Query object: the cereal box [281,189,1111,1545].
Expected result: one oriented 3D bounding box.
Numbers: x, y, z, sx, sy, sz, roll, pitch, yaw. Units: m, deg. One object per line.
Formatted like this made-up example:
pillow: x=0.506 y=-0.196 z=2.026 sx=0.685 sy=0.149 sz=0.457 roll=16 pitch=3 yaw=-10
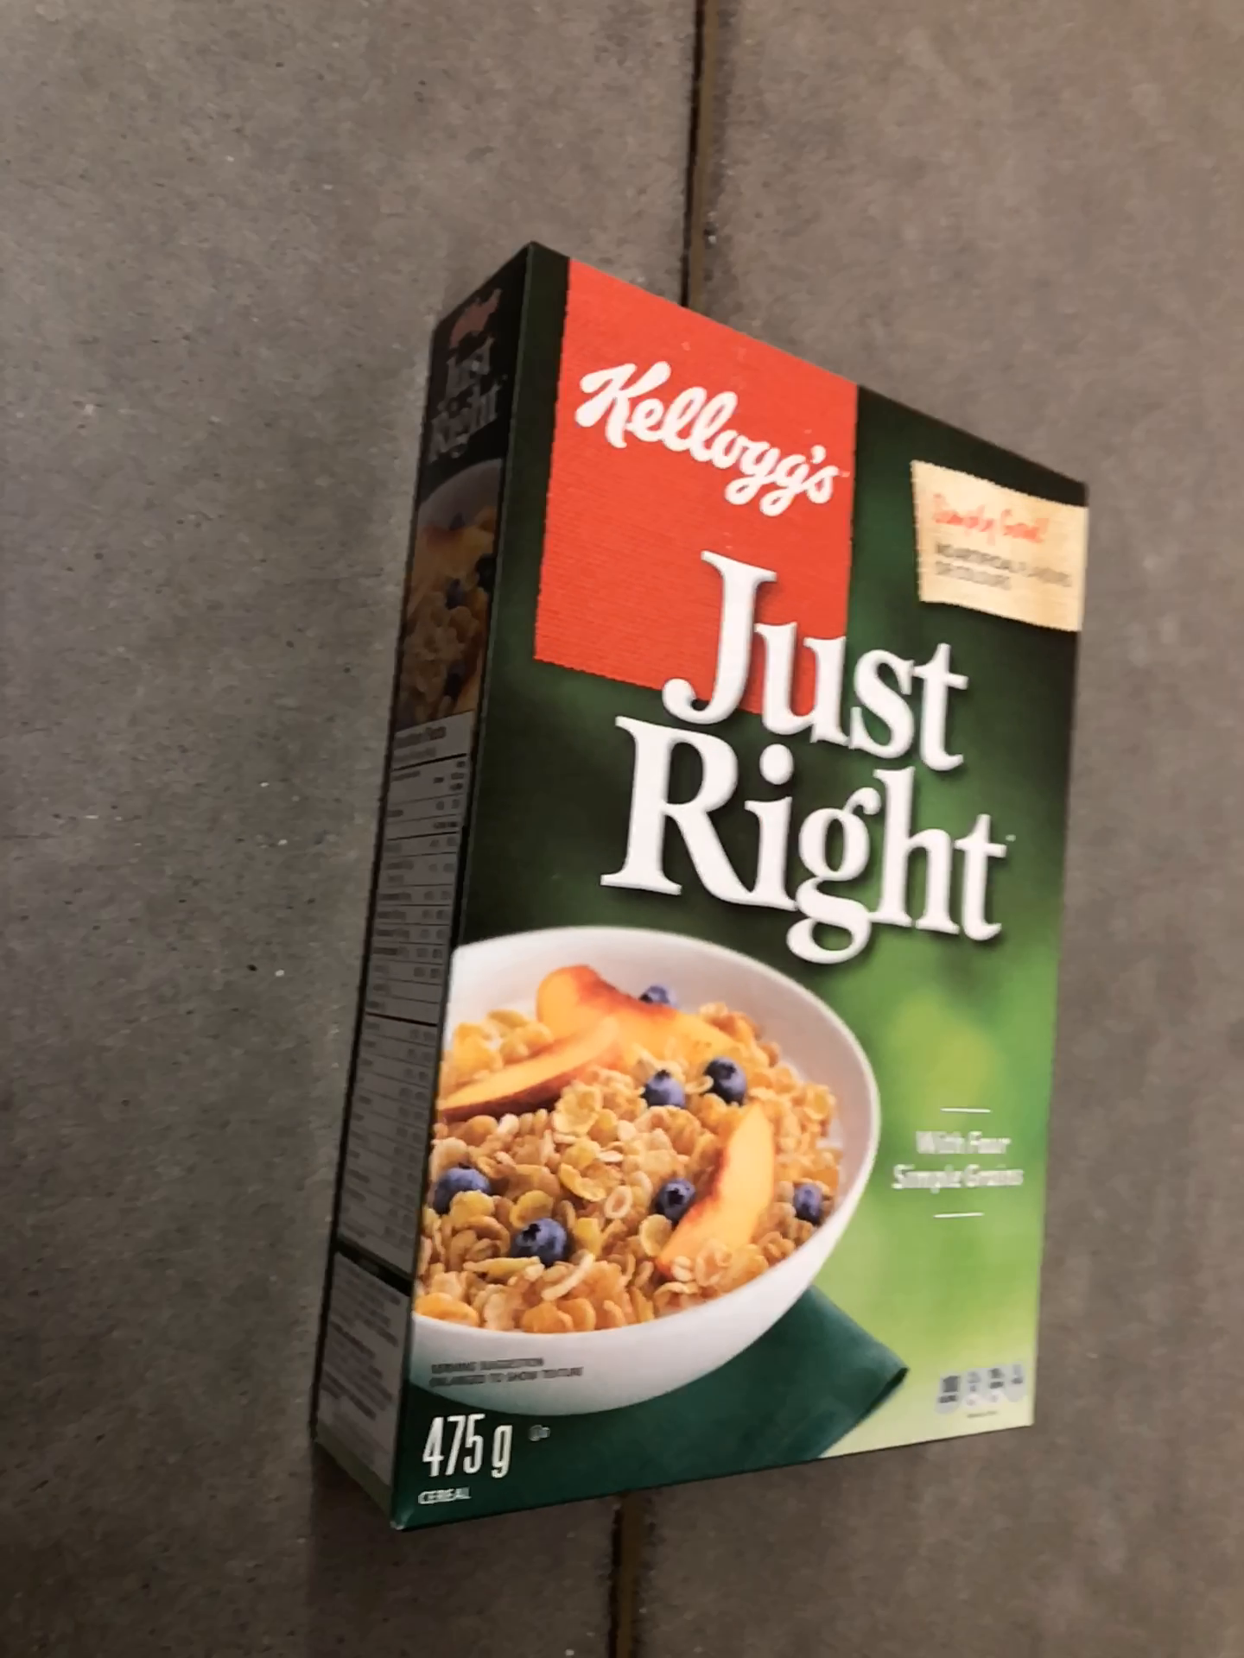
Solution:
cereal box: x=0.035 y=0.015 z=0.375 sx=0.210 sy=0.060 sz=0.290 roll=9 pitch=82 yaw=-33
